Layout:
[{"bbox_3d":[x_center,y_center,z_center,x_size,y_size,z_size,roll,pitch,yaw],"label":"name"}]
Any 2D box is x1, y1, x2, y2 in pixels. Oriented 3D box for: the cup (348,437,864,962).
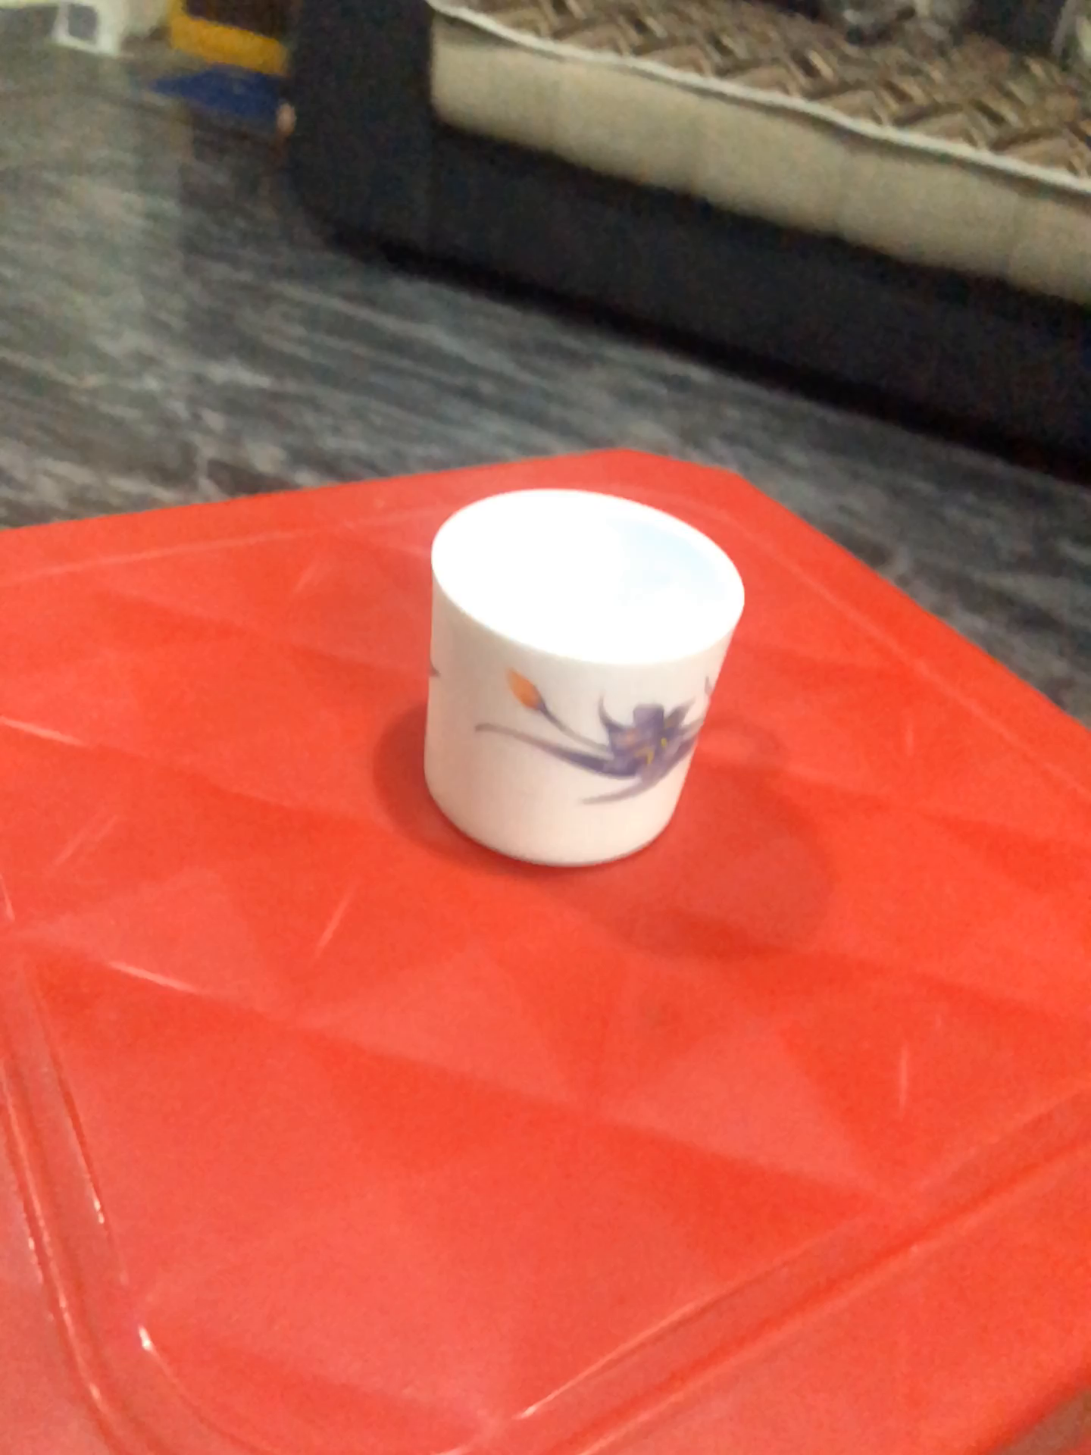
[{"bbox_3d":[0.014,-0.012,0.272,0.070,0.060,0.090,27,40,20],"label":"cup"}]
